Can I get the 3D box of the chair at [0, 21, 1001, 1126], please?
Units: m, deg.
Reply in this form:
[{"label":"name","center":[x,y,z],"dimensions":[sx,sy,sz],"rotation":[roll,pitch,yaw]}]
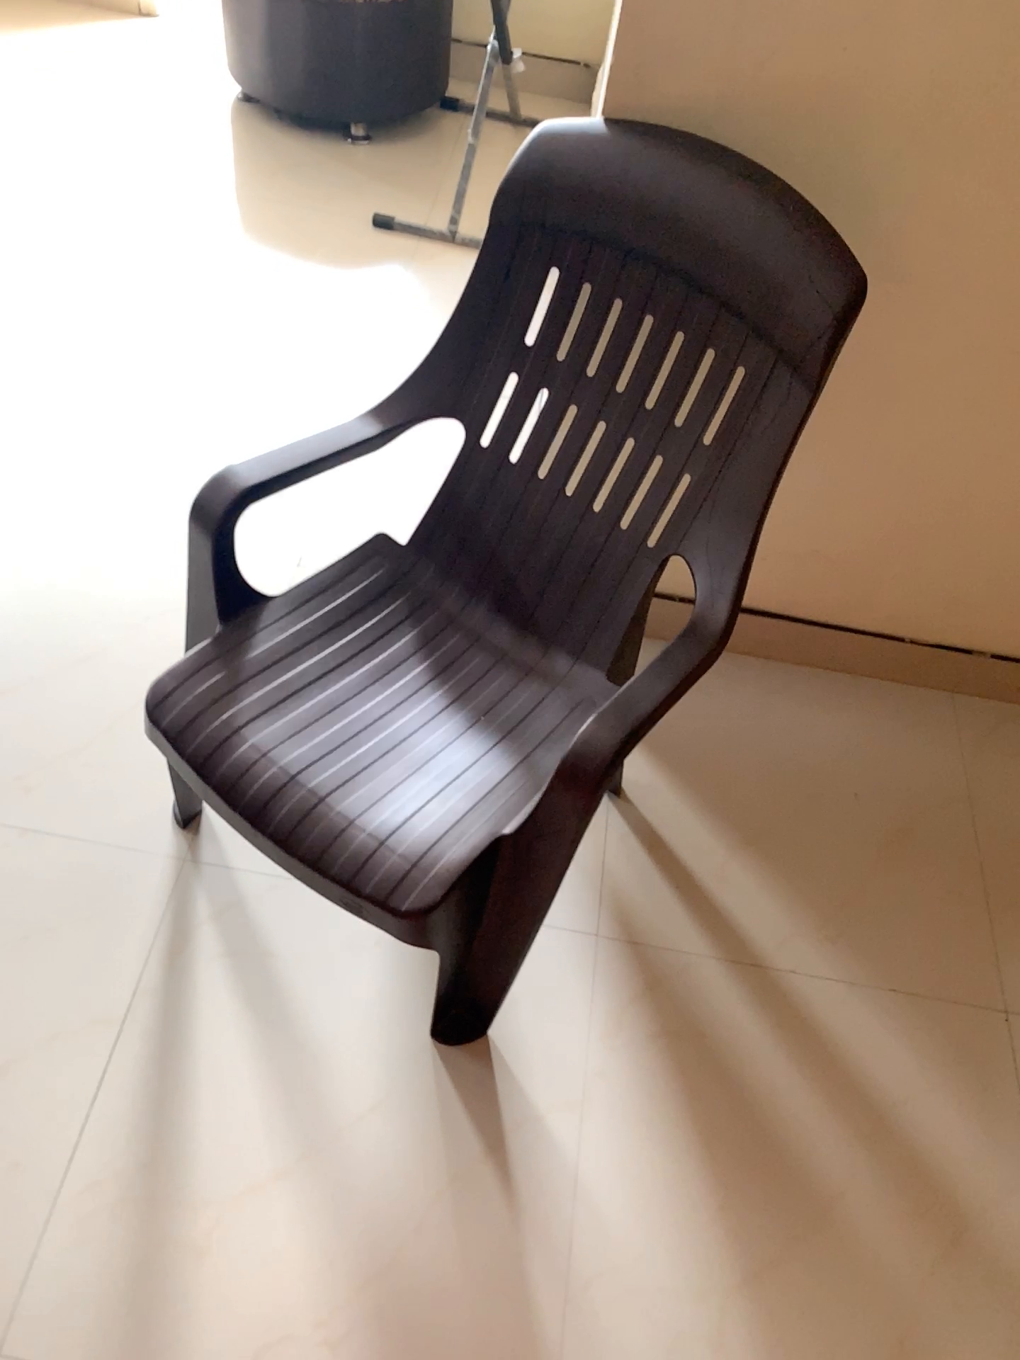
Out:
[{"label":"chair","center":[-0.041,-0.070,1.292],"dimensions":[0.601,1.032,0.664],"rotation":[35,54,19]}]
